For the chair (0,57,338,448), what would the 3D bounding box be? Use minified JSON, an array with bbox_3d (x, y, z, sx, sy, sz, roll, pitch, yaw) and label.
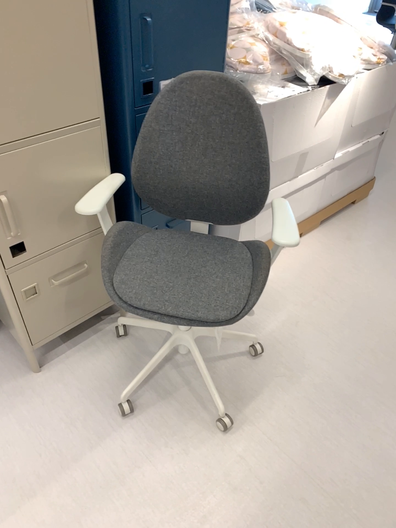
[{"bbox_3d":[-0.031,-0.018,1.320,0.650,0.996,0.673,10,42,7],"label":"chair"}]
